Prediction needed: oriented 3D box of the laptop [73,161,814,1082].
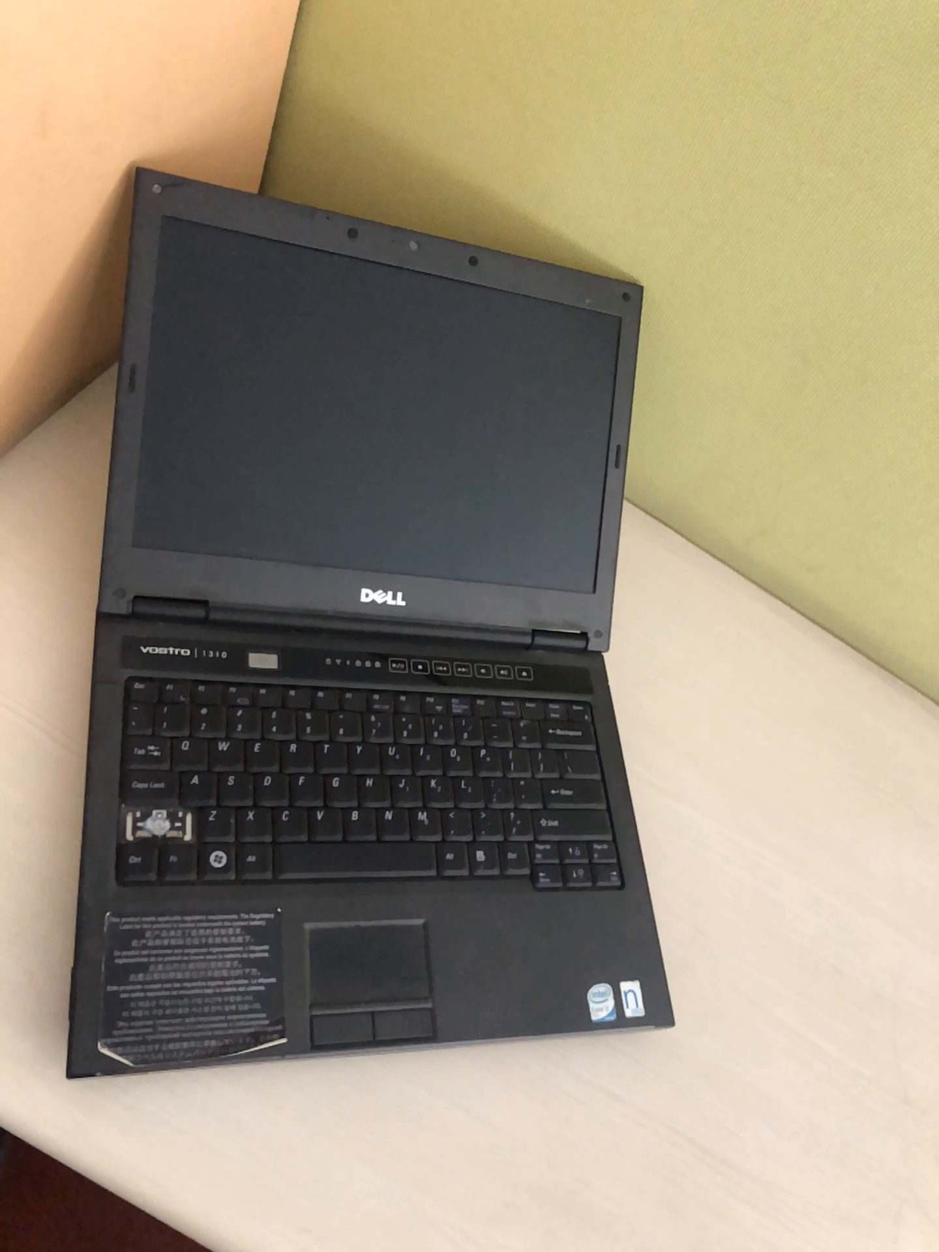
[{"bbox_3d":[-0.032,-0.015,0.554,0.306,0.125,0.431,4,61,-22],"label":"laptop"}]
